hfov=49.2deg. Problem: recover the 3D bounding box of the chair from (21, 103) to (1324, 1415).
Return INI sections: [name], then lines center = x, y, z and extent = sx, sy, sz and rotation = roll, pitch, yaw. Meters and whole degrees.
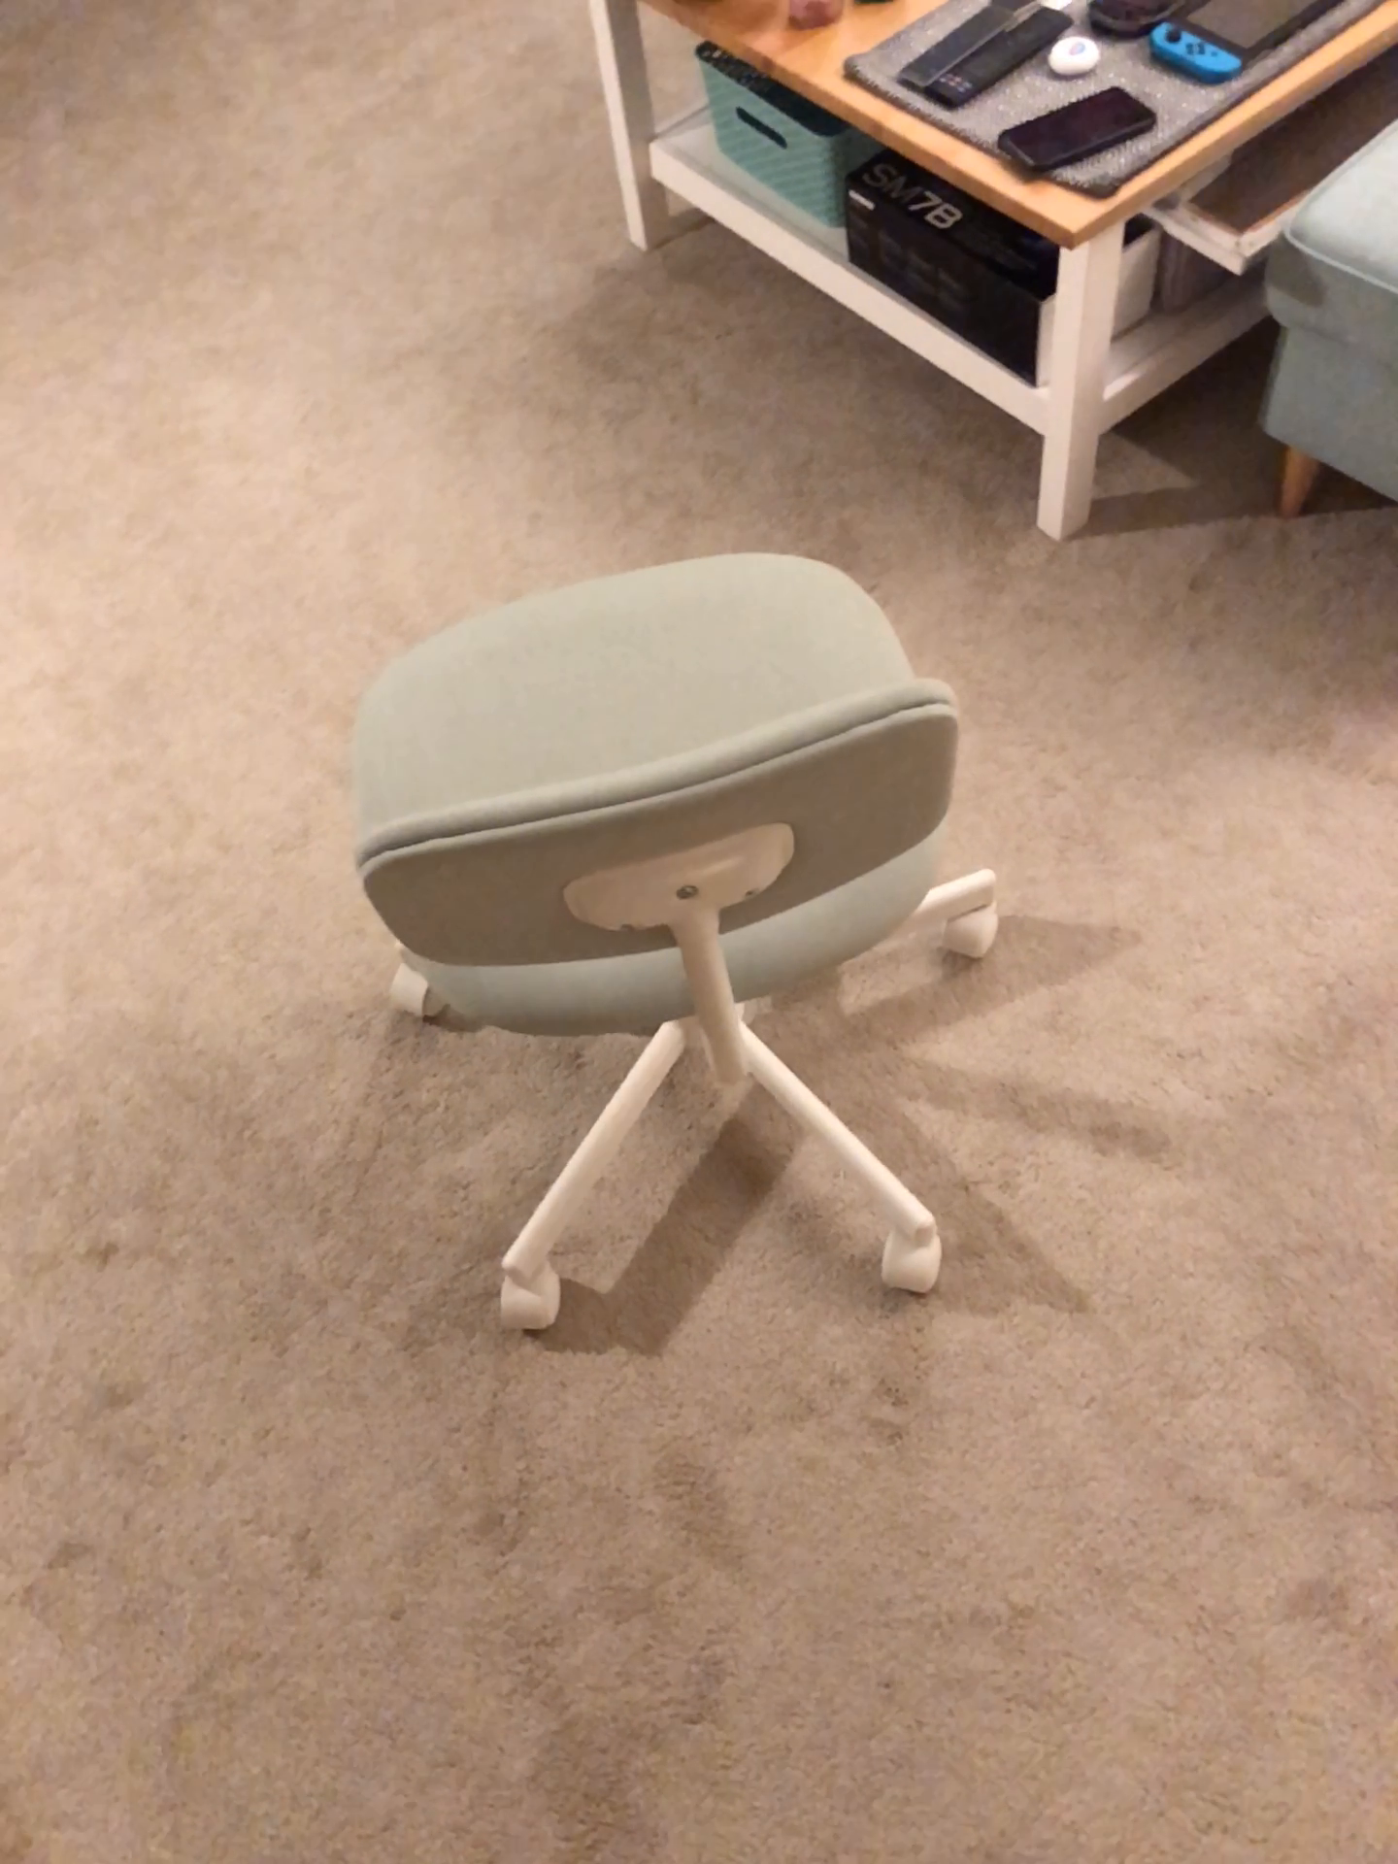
[chair]
center = -0.027, -0.088, 1.216
extent = 0.660, 0.677, 0.643
rotation = -12, 58, 1
